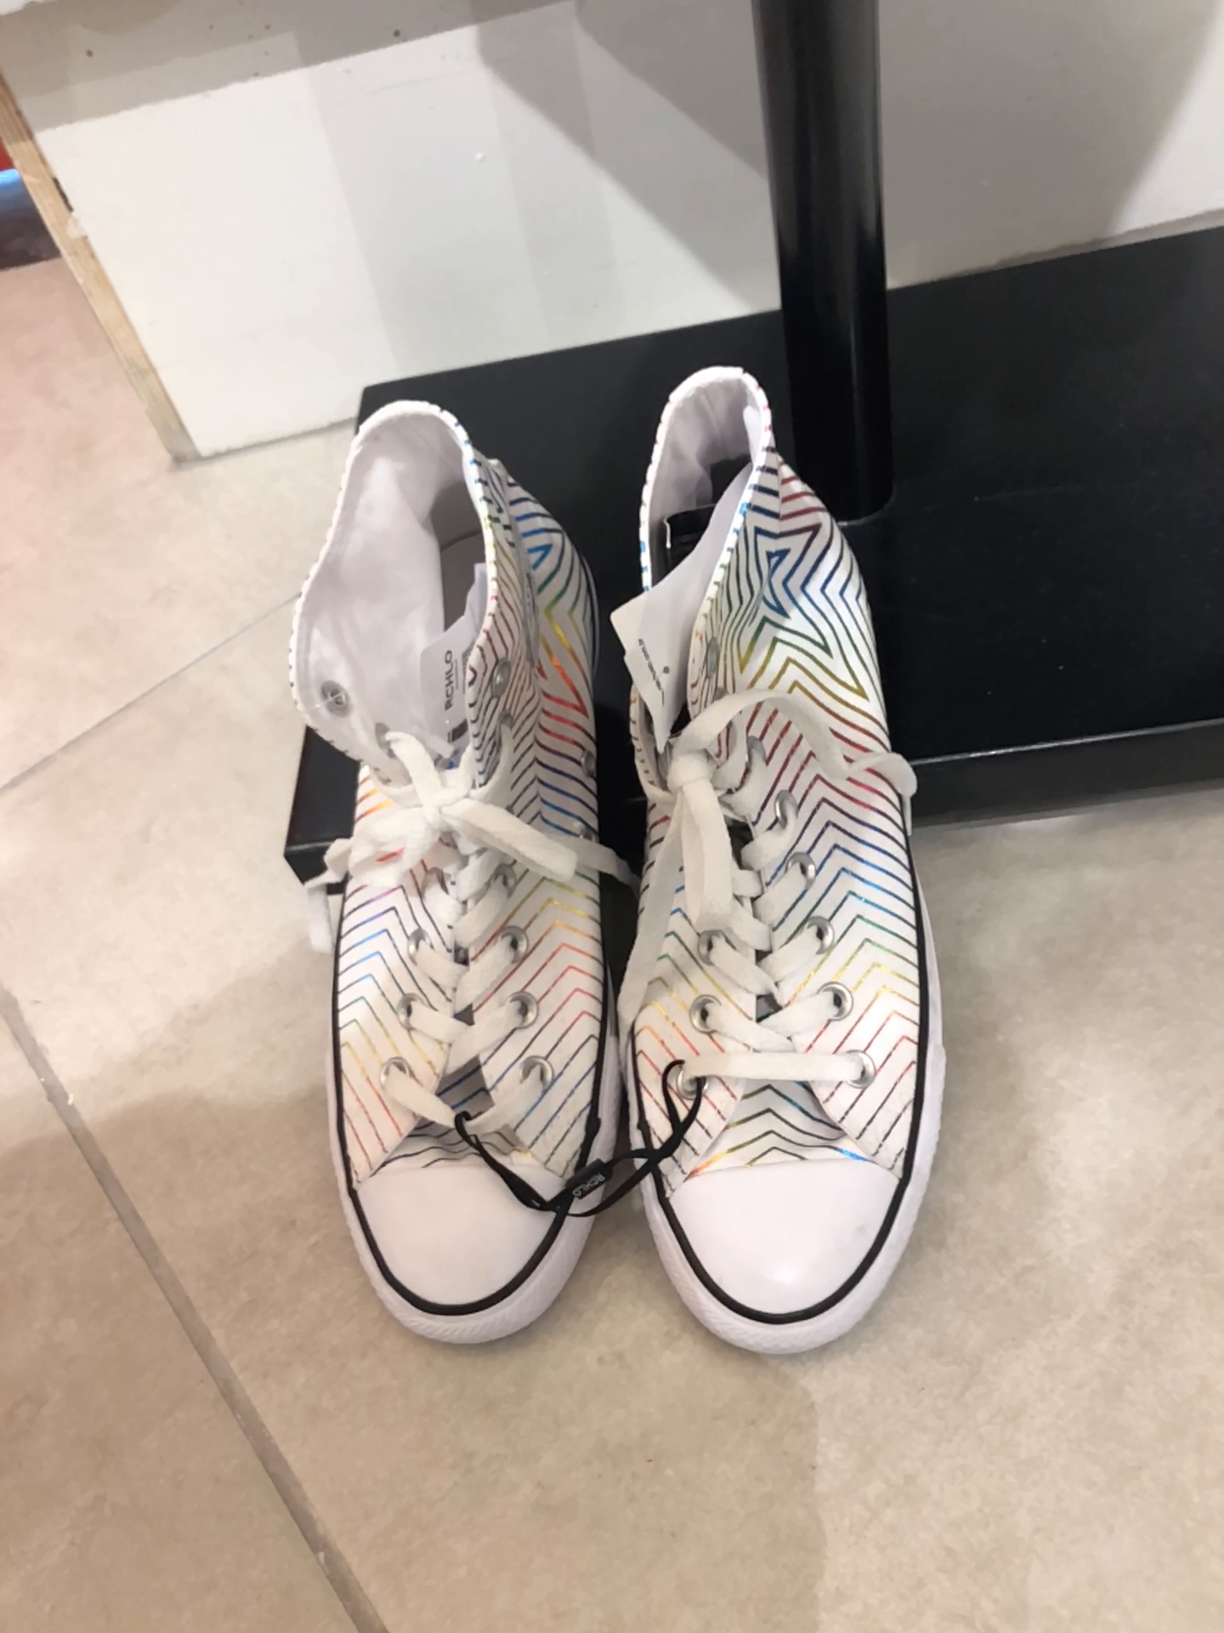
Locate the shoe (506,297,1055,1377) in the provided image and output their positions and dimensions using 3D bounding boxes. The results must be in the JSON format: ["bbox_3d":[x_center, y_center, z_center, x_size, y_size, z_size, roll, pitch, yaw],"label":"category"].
[{"bbox_3d":[0.047,0.007,0.428,0.120,0.139,0.302,-5,63,9],"label":"shoe"}]

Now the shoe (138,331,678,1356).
[{"bbox_3d":[-0.054,0.015,0.455,0.120,0.139,0.301,-5,69,9],"label":"shoe"}]
